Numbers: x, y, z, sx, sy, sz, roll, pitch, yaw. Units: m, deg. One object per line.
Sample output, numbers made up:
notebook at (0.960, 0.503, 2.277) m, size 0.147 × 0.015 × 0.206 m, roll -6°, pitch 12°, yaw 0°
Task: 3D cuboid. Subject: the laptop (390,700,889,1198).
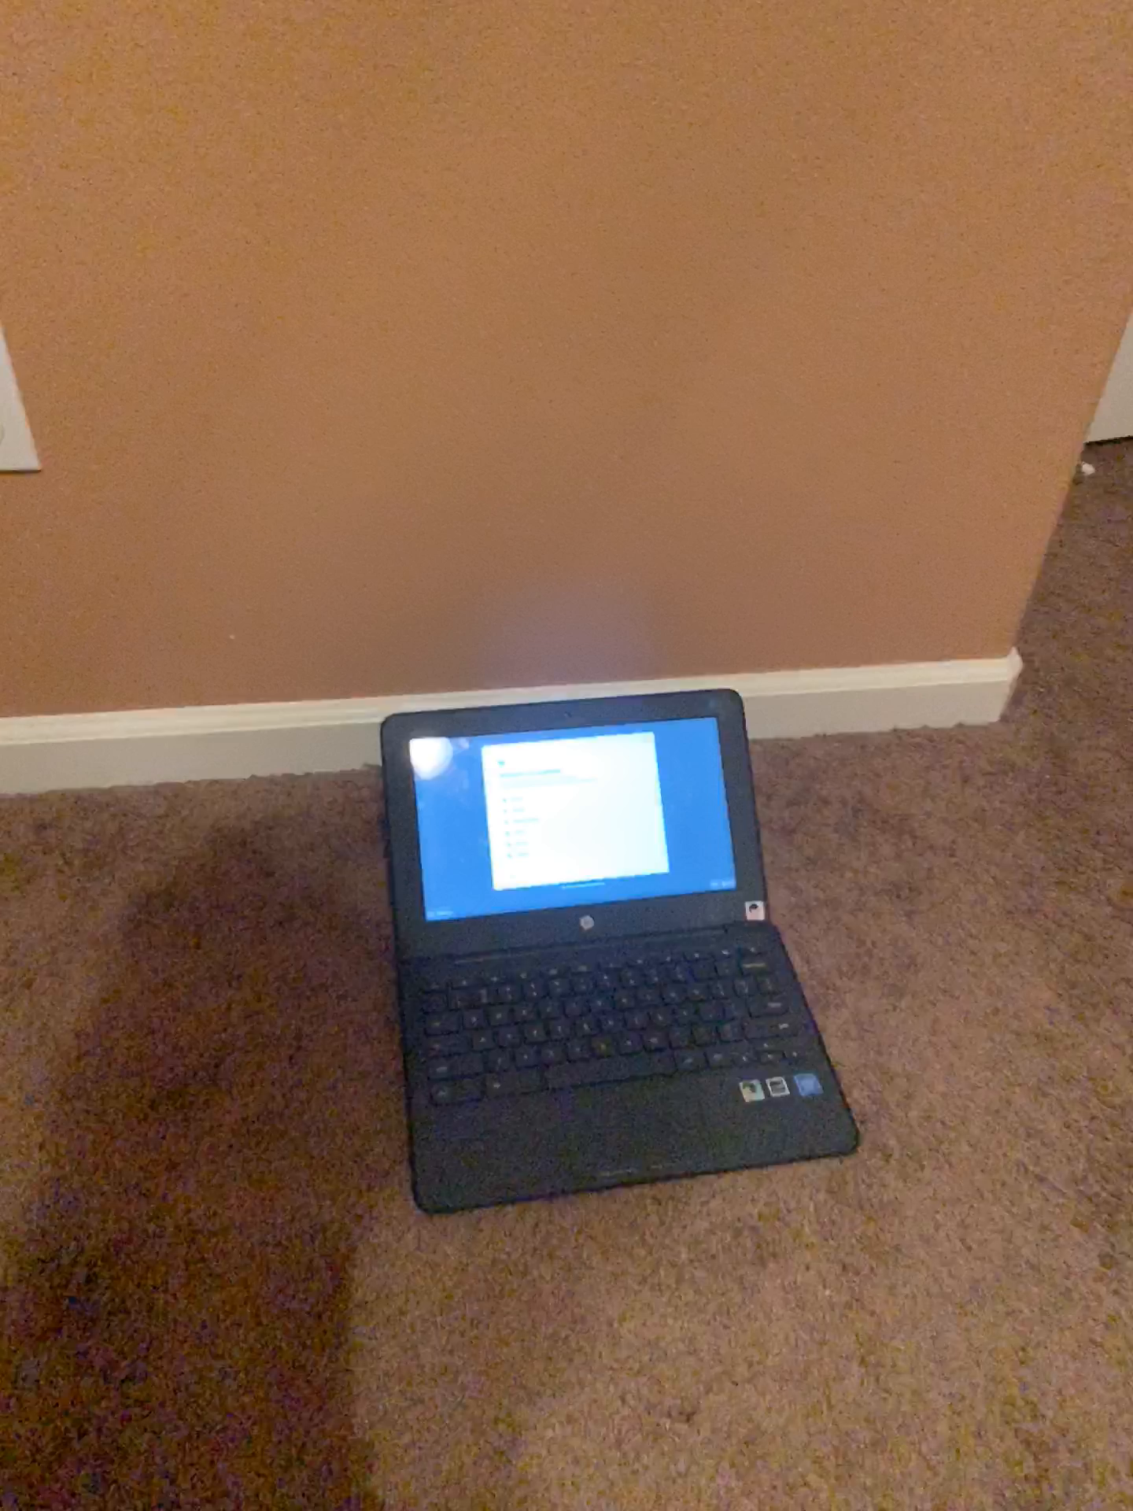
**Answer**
laptop at (0.026, 0.119, 0.853) m, size 0.287 × 0.124 × 0.334 m, roll -4°, pitch 40°, yaw -9°
